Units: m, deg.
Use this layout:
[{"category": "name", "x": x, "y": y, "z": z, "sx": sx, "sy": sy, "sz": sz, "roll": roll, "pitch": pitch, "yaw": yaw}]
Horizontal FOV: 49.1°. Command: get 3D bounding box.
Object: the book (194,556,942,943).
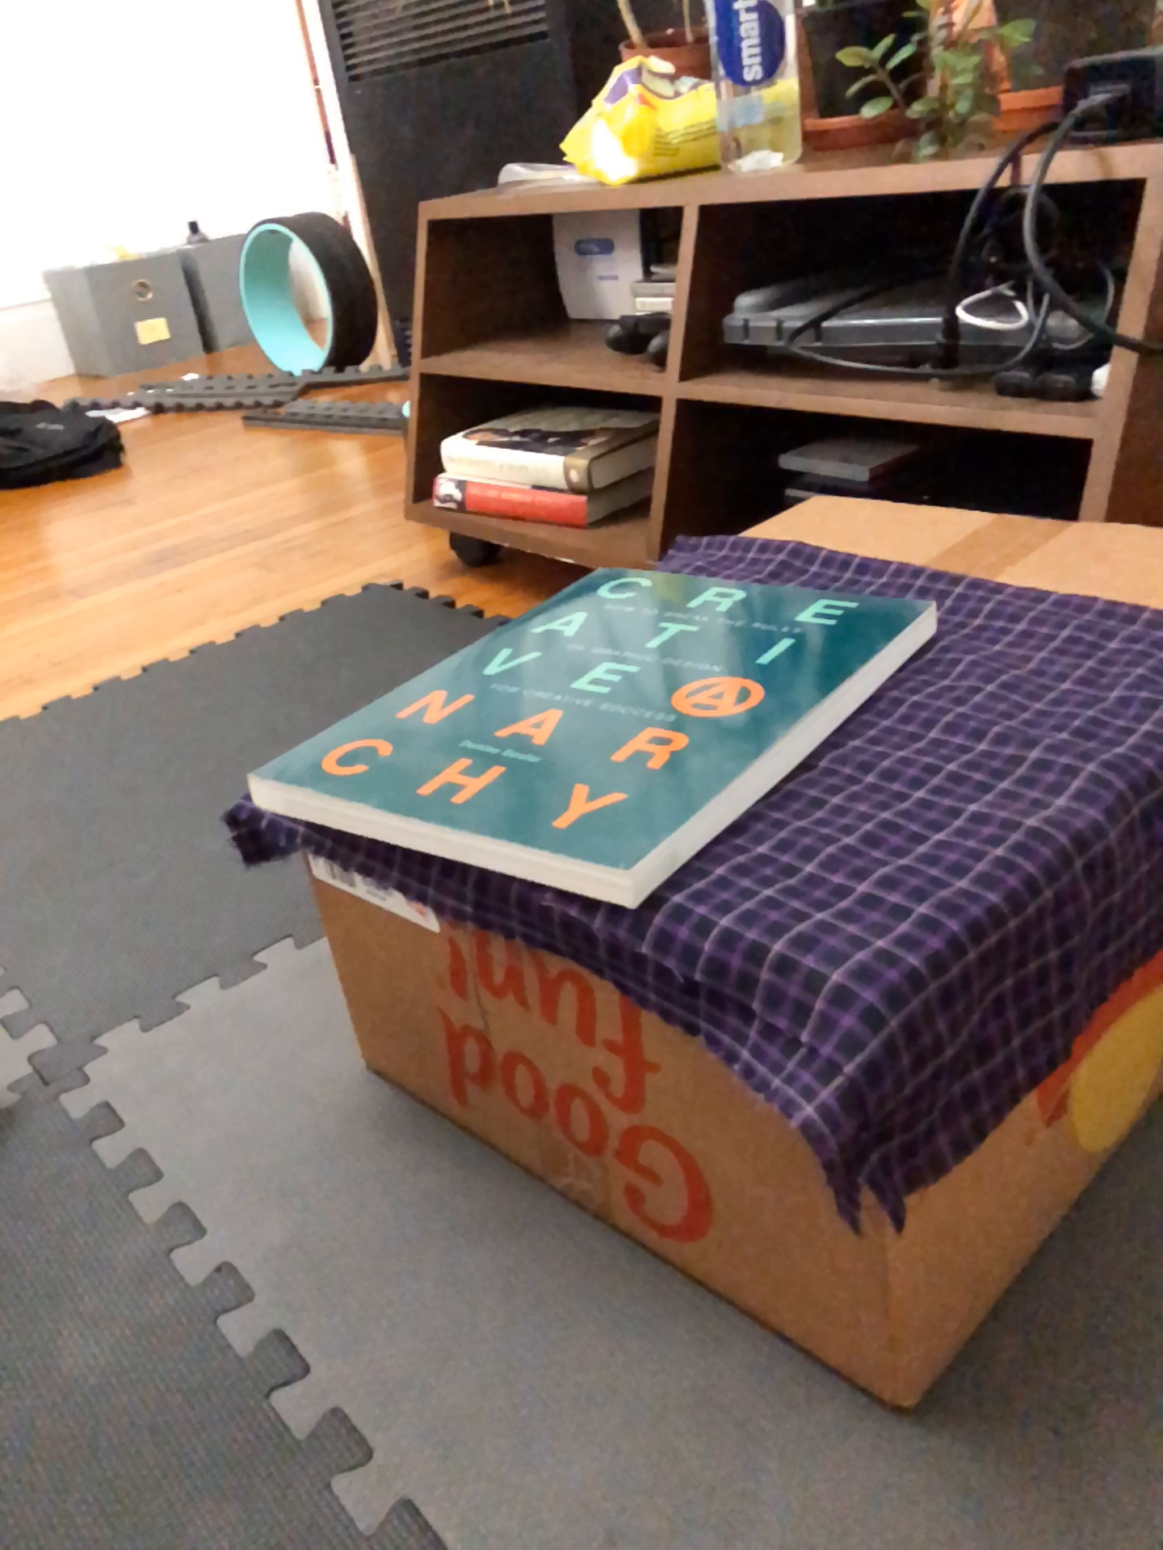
[{"category": "book", "x": 0.007, "y": -0.037, "z": 0.603, "sx": 0.220, "sy": 0.020, "sz": 0.301, "roll": 12, "pitch": 34, "yaw": 35}]
